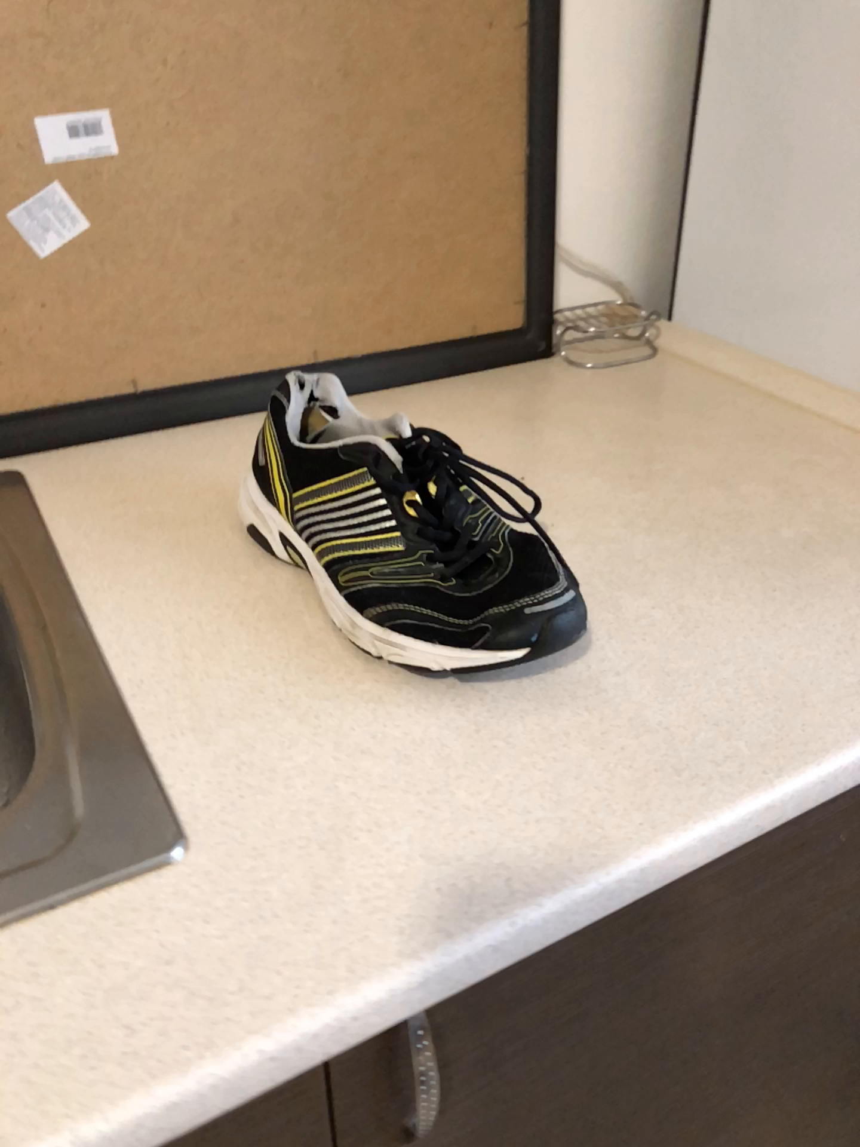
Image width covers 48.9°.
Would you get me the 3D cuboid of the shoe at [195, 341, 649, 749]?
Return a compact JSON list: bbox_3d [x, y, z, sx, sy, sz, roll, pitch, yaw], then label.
[{"bbox_3d":[-0.025,-0.042,0.562,0.110,0.099,0.311,-18,35,-27],"label":"shoe"}]
